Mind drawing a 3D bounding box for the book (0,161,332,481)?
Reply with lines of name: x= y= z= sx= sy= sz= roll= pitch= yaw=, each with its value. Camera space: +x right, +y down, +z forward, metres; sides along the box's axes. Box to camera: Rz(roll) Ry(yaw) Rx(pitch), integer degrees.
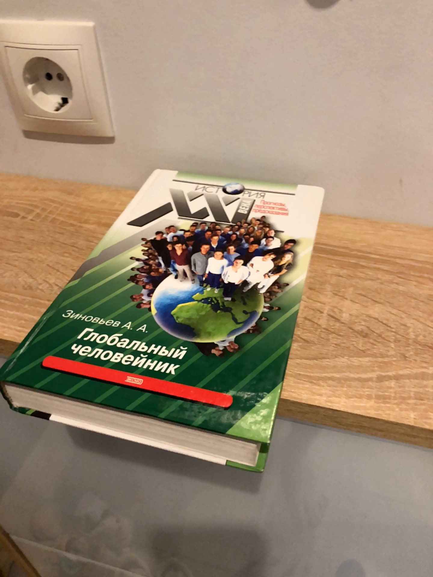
book: x=-0.015 y=-0.010 z=0.287 sx=0.140 sy=0.020 sz=0.222 roll=10 pitch=43 yaw=13
